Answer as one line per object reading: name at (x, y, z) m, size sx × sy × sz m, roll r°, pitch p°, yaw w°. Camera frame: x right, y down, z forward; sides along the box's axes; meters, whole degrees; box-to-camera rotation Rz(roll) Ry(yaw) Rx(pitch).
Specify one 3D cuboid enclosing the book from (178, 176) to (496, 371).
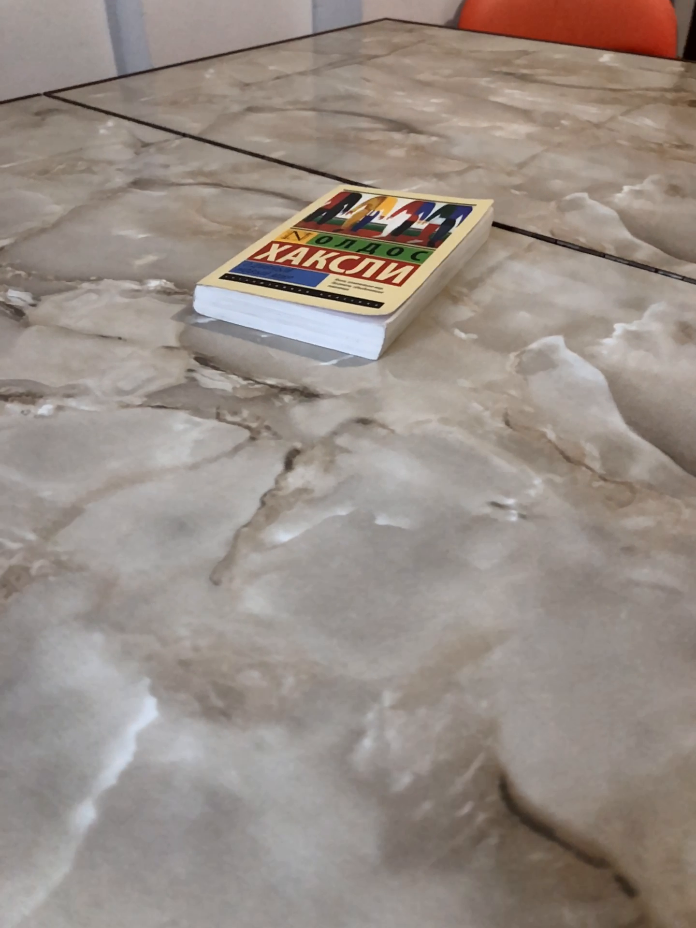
book at (0.002, -0.127, 0.470) m, size 0.120 × 0.028 × 0.184 m, roll 18°, pitch 42°, yaw 21°
